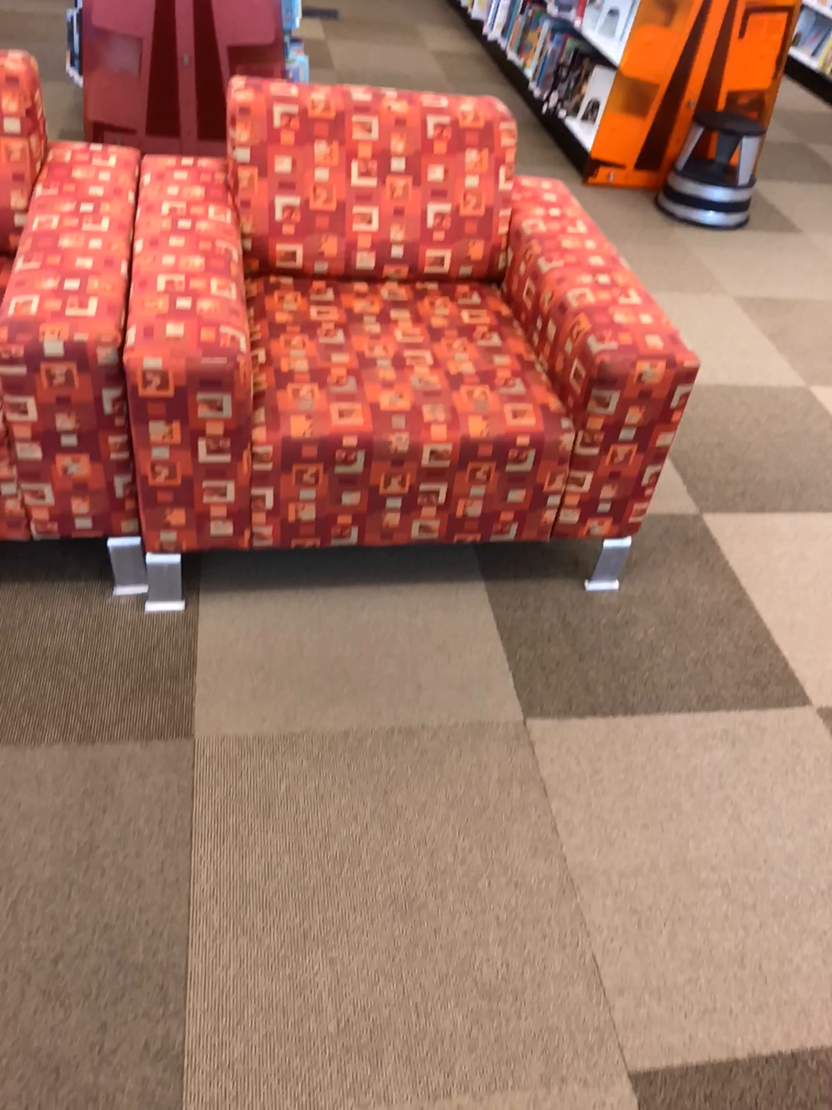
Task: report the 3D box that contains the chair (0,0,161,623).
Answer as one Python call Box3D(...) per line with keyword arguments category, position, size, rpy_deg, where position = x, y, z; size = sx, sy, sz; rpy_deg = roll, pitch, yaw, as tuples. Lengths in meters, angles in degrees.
Box3D(category="chair", position=(-0.992, -0.484, 1.722), size=(0.919, 0.716, 0.956), rpy_deg=(-1, 42, -12))

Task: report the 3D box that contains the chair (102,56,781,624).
Box3D(category="chair", position=(-0.053, -0.475, 1.894), size=(1.003, 0.686, 0.996), rpy_deg=(-1, 42, -12))
